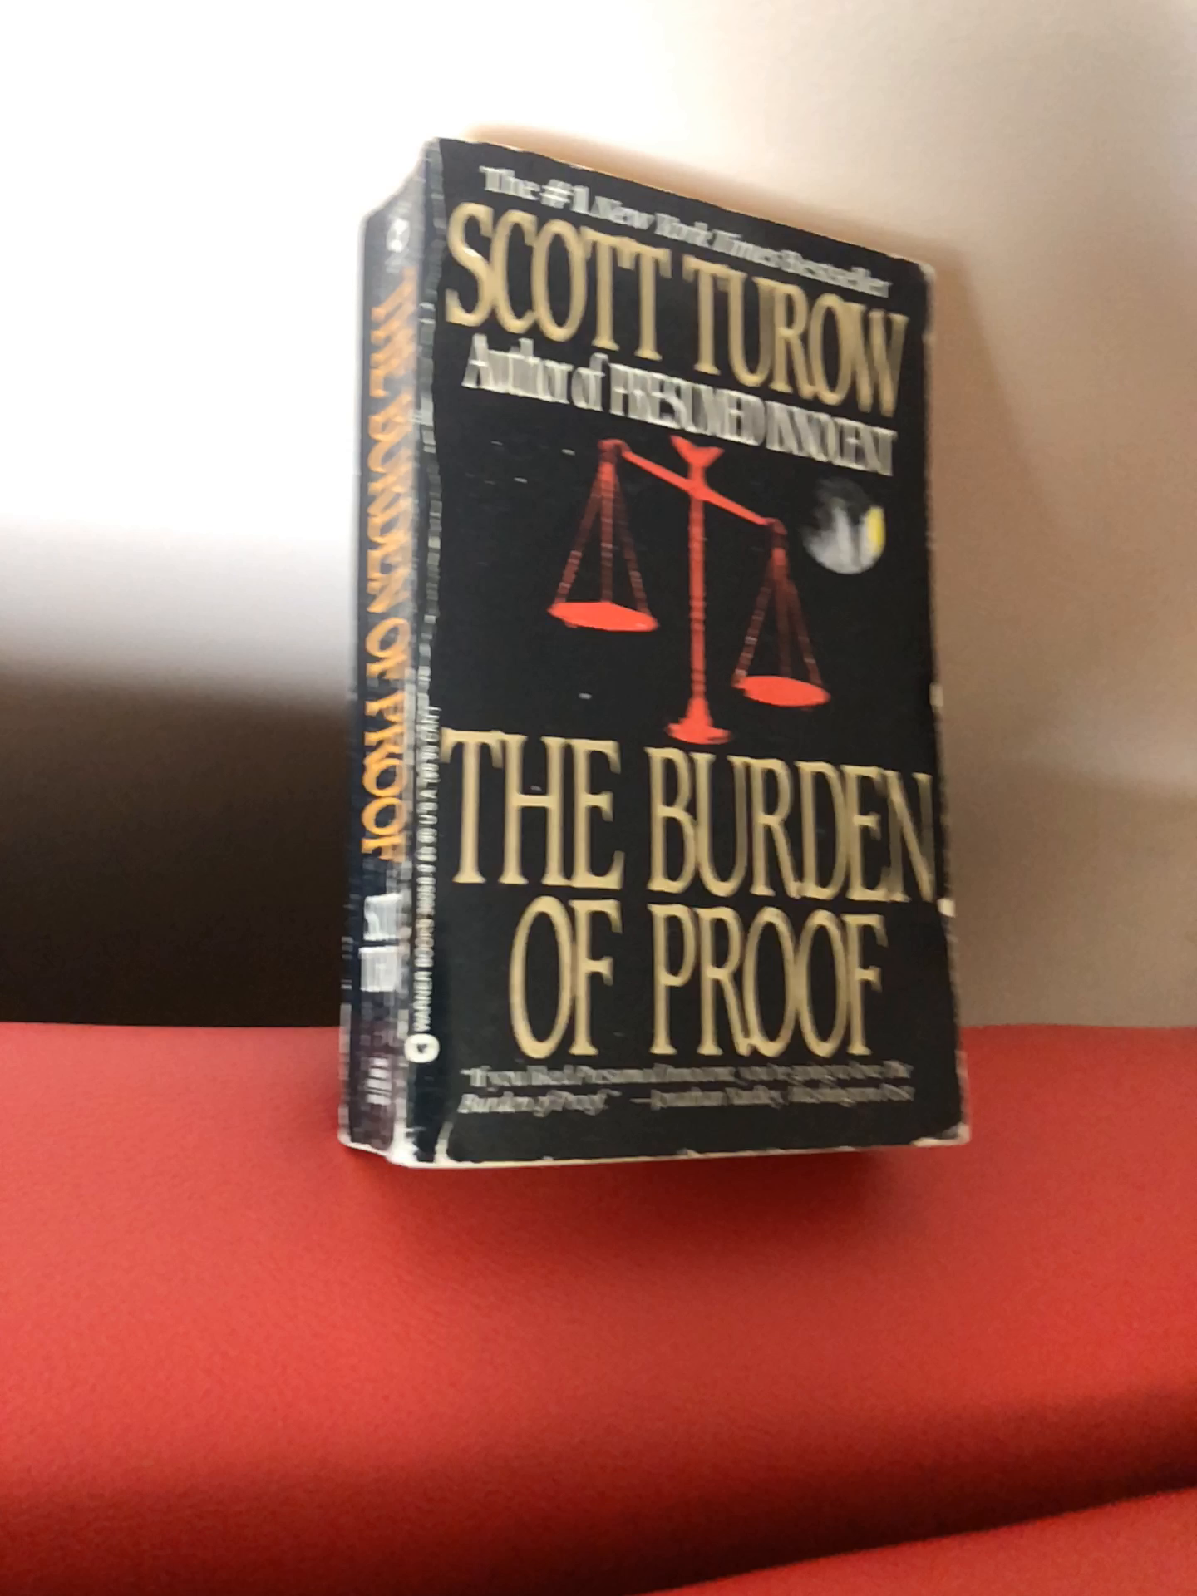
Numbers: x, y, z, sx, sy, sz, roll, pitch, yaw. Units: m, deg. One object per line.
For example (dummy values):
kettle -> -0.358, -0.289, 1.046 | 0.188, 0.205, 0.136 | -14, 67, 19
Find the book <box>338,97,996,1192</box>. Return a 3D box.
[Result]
book -> 0.013, -0.022, 0.246 | 0.106, 0.045, 0.171 | 4, 80, -26
